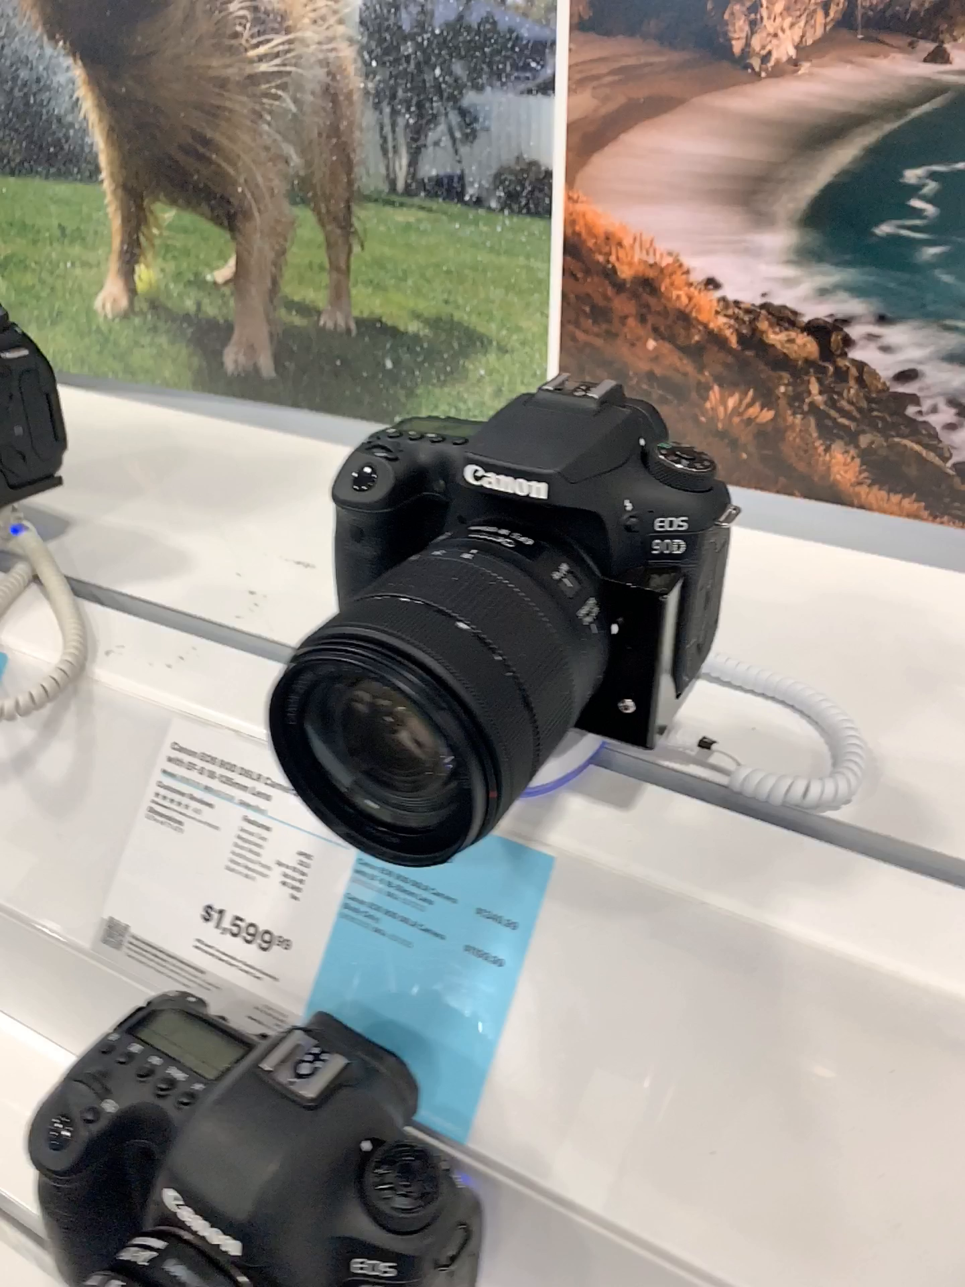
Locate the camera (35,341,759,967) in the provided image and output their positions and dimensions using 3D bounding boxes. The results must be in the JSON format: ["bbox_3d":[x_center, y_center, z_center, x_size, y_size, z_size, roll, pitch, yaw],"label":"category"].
[{"bbox_3d":[-0.013,-0.018,0.326,0.148,0.104,0.171,15,34,25],"label":"camera"}]
